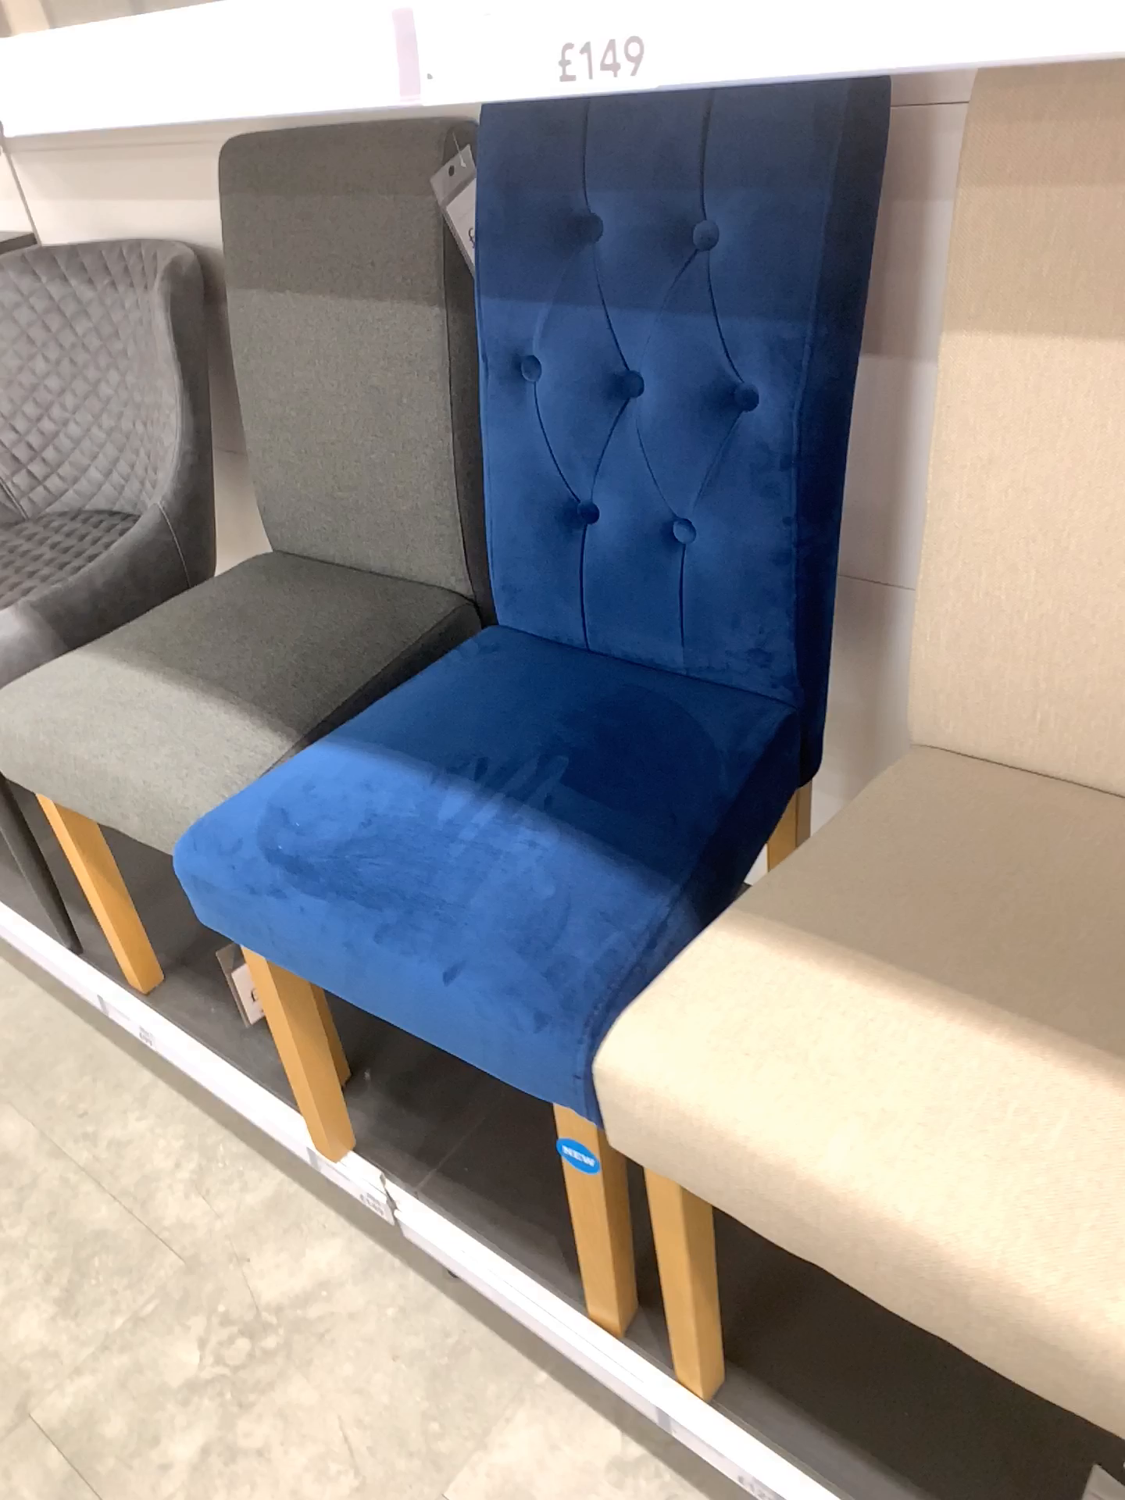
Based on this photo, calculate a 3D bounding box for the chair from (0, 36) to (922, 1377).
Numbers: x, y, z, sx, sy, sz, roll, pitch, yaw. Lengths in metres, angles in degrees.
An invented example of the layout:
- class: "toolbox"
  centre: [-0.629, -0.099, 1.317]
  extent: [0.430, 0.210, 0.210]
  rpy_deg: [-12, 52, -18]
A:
- class: "chair"
  centre: [-0.026, -0.026, 1.001]
  extent: [0.434, 0.929, 0.522]
  rpy_deg: [19, 44, 33]

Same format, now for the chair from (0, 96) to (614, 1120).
- class: "chair"
  centre: [-0.321, -0.173, 1.307]
  extent: [0.414, 0.889, 0.623]
  rpy_deg: [16, 42, 30]
